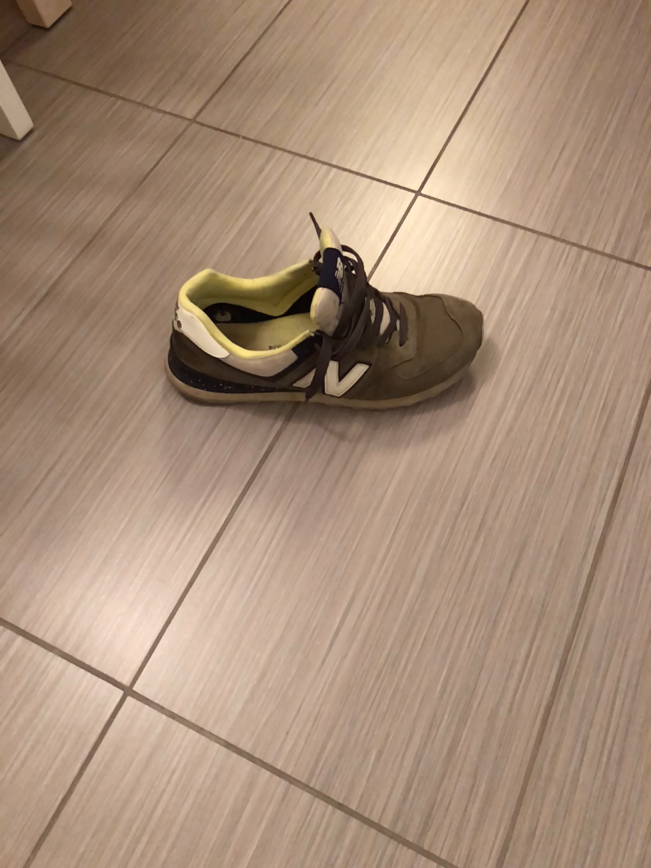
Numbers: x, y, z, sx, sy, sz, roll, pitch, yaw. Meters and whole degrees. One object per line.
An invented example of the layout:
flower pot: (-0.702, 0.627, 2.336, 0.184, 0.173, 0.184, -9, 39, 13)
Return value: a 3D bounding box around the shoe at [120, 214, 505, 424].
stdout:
shoe: (-0.005, -0.104, 0.649, 0.310, 0.110, 0.130, 4, 62, 4)
